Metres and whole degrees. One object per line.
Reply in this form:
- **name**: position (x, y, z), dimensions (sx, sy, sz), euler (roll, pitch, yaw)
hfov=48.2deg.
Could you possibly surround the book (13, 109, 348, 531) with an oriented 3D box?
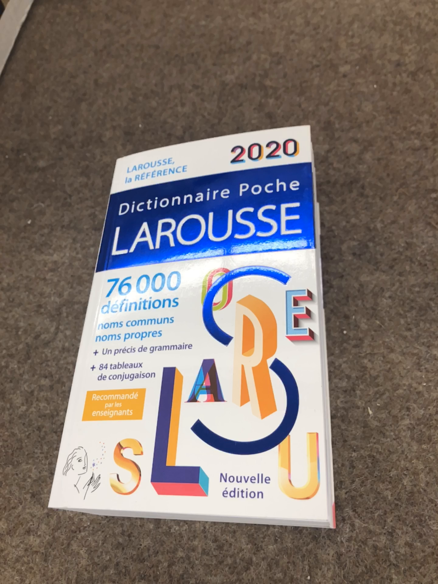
- **book**: position (-0.008, 0.008, 0.234), dimensions (0.116, 0.060, 0.184), euler (-3, 62, 10)
